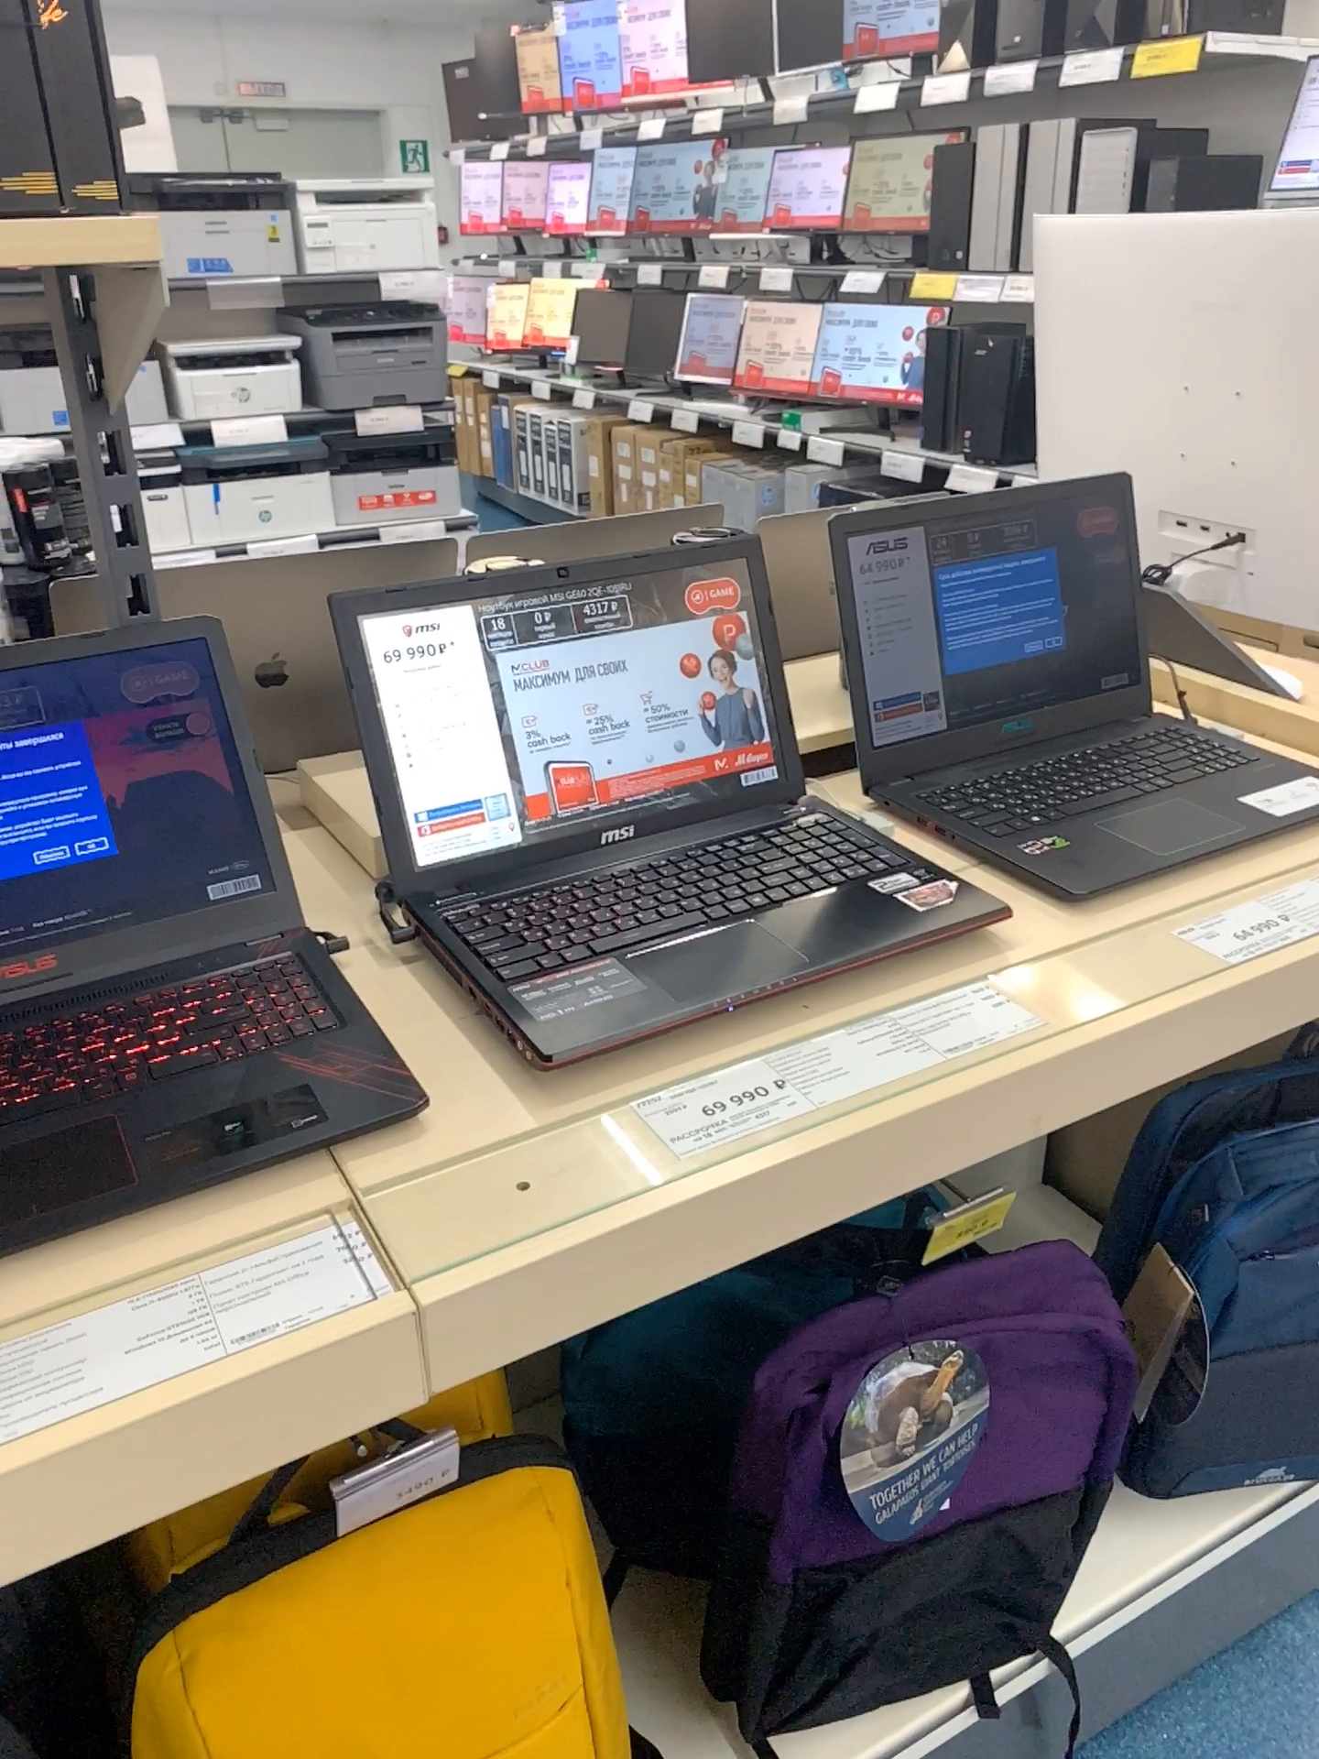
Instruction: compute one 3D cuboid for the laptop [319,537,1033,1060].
[{"bbox_3d":[0.003,-0.087,0.924,0.356,0.197,0.313,-15,29,-28],"label":"laptop"}]
